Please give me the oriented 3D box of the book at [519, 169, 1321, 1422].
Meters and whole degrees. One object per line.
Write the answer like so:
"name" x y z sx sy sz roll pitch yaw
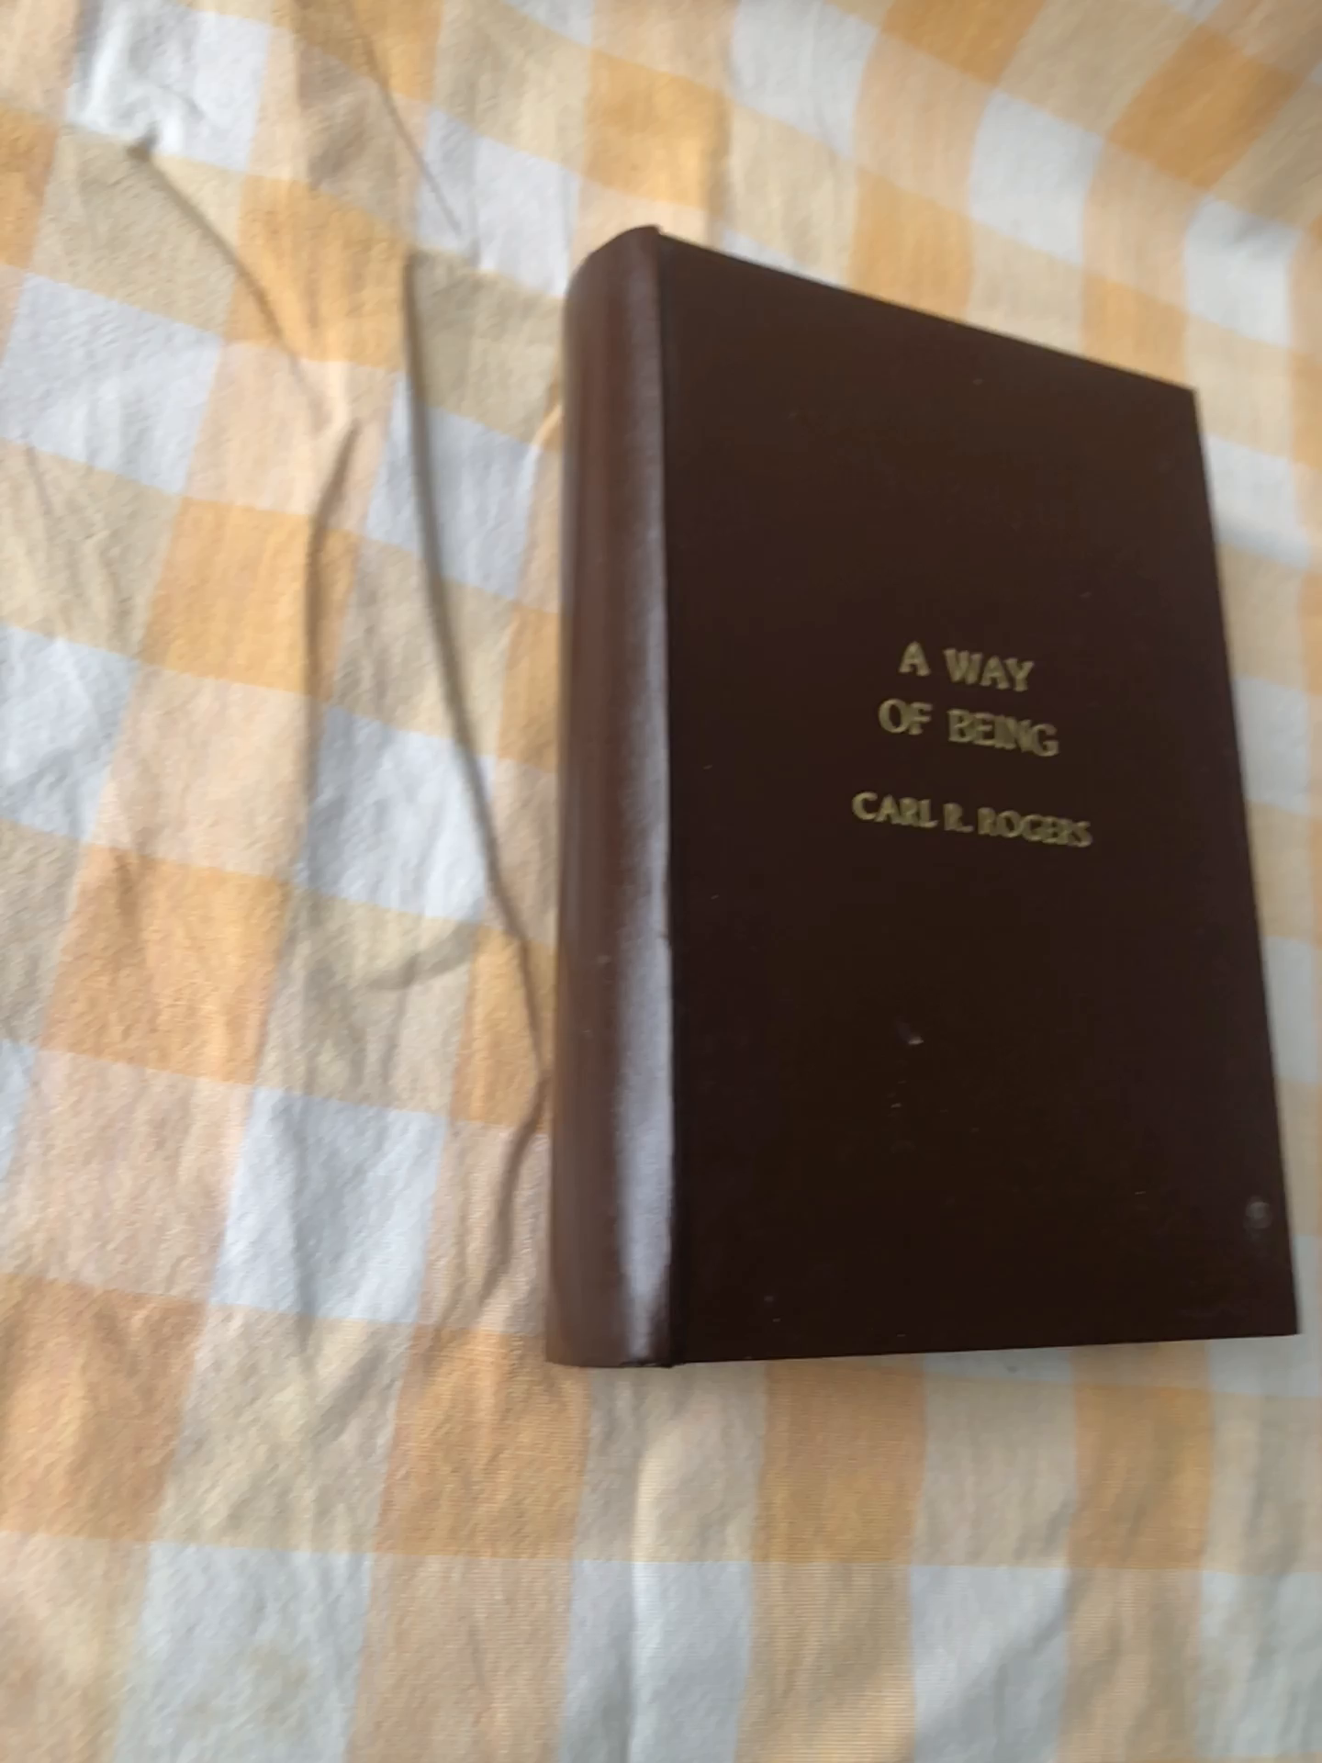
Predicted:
"book" 0.049 -0.012 0.291 0.140 0.060 0.210 6 74 -24
